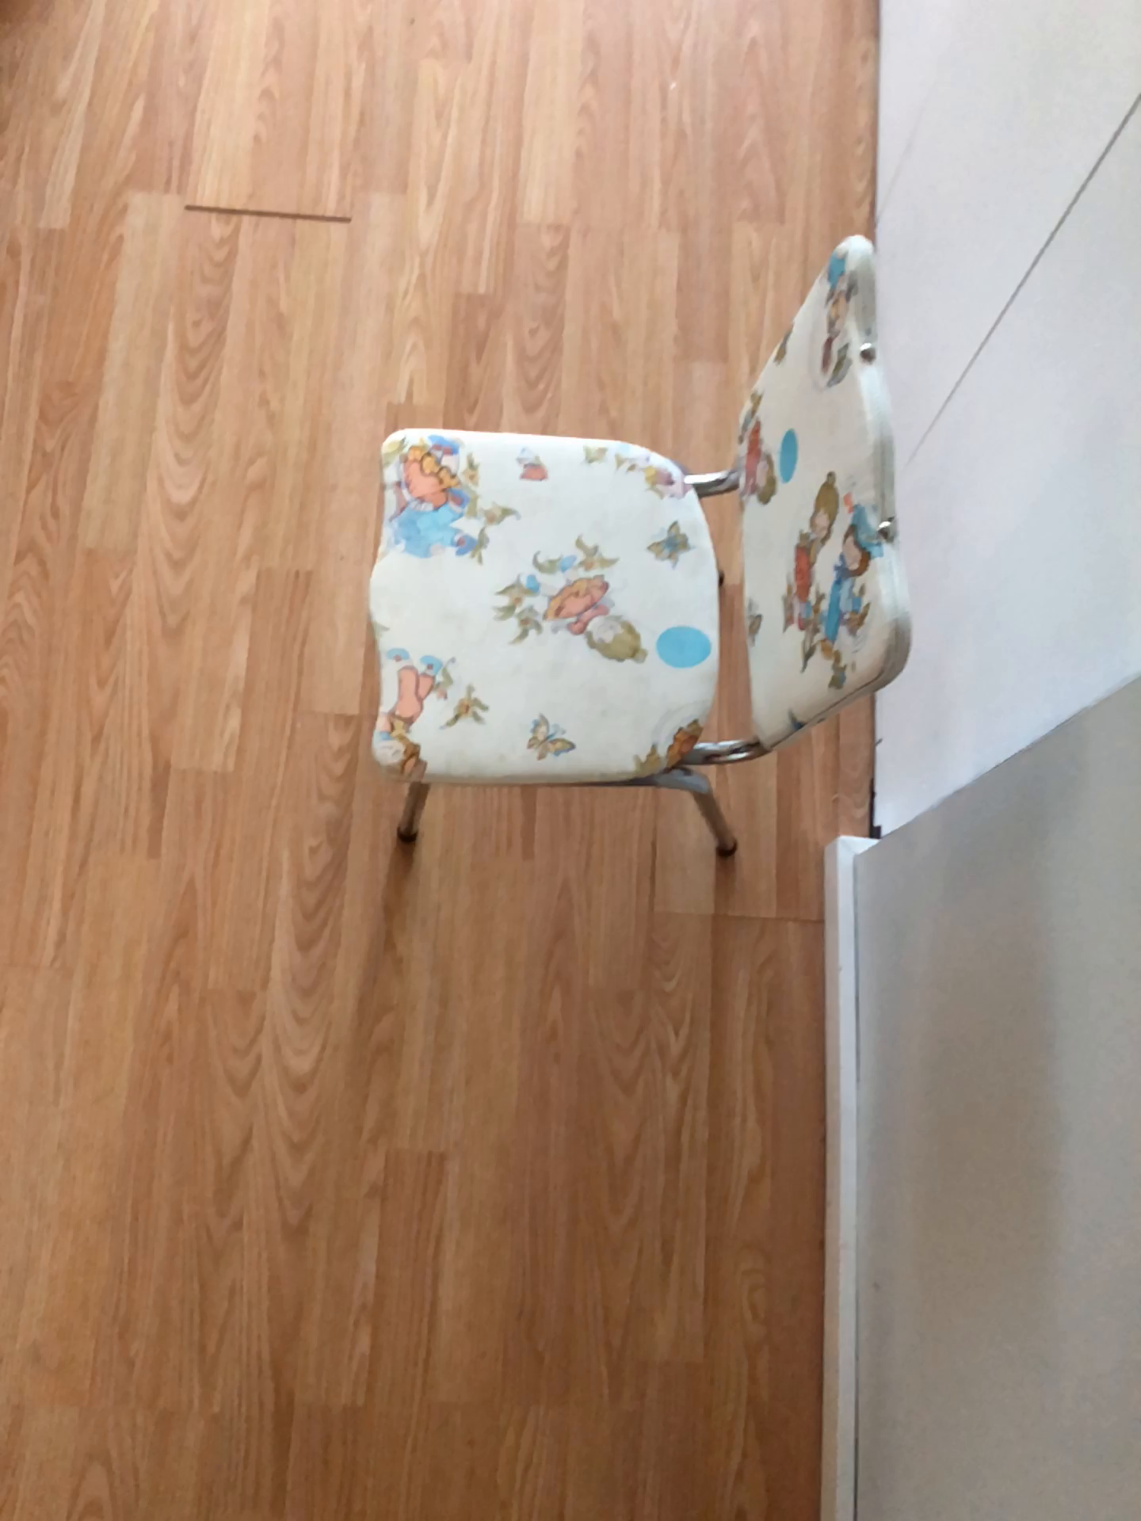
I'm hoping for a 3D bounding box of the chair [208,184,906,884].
[{"bbox_3d":[-0.016,-0.117,1.014,0.390,0.560,0.350,1,76,-2],"label":"chair"}]
